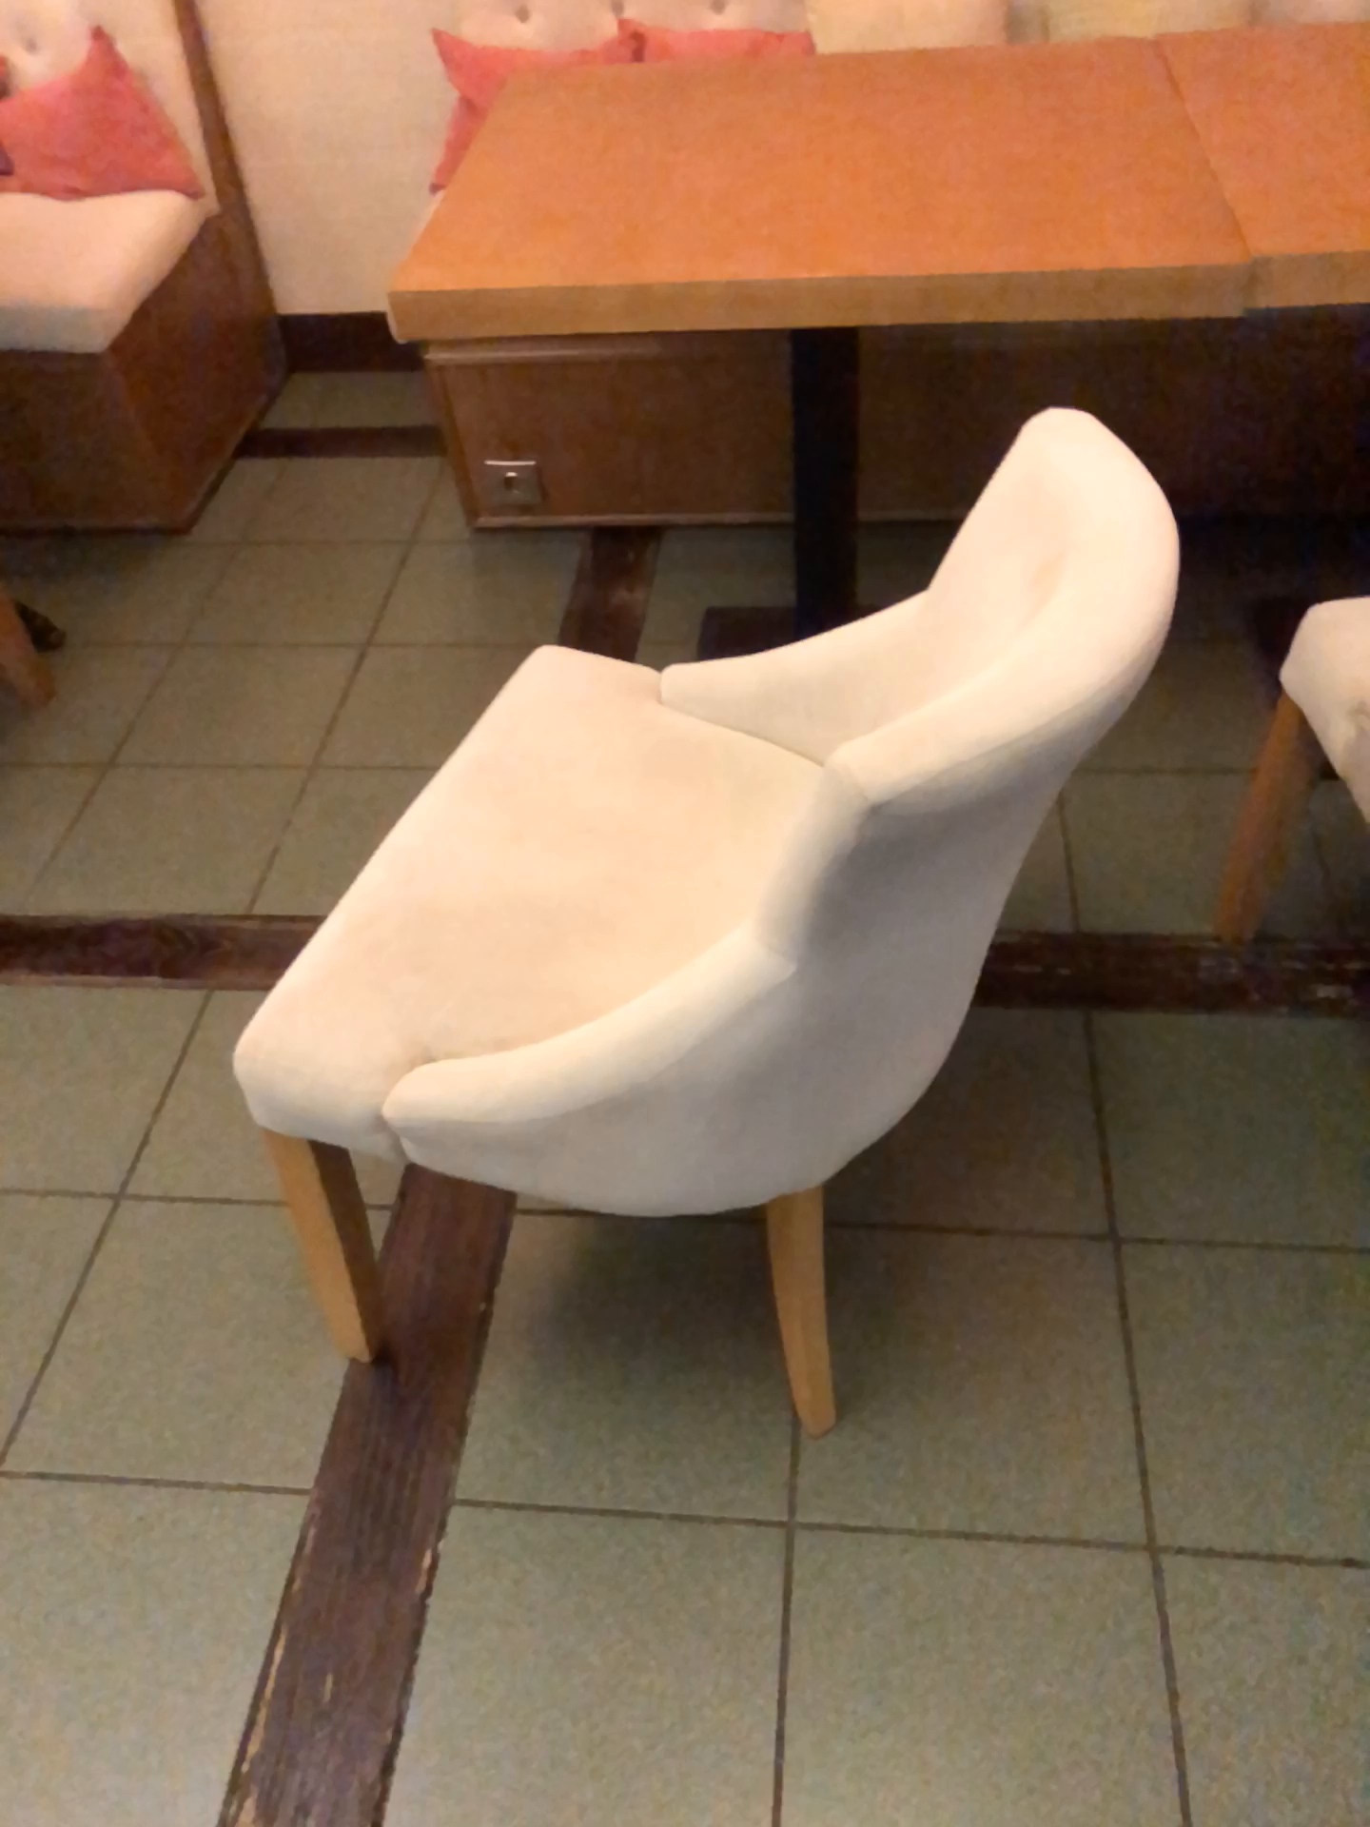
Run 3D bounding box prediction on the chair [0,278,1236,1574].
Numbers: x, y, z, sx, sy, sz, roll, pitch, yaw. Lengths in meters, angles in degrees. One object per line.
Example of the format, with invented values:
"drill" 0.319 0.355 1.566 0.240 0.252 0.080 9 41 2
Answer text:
"chair" 0.018 -0.013 1.235 0.661 0.736 0.633 11 46 17
